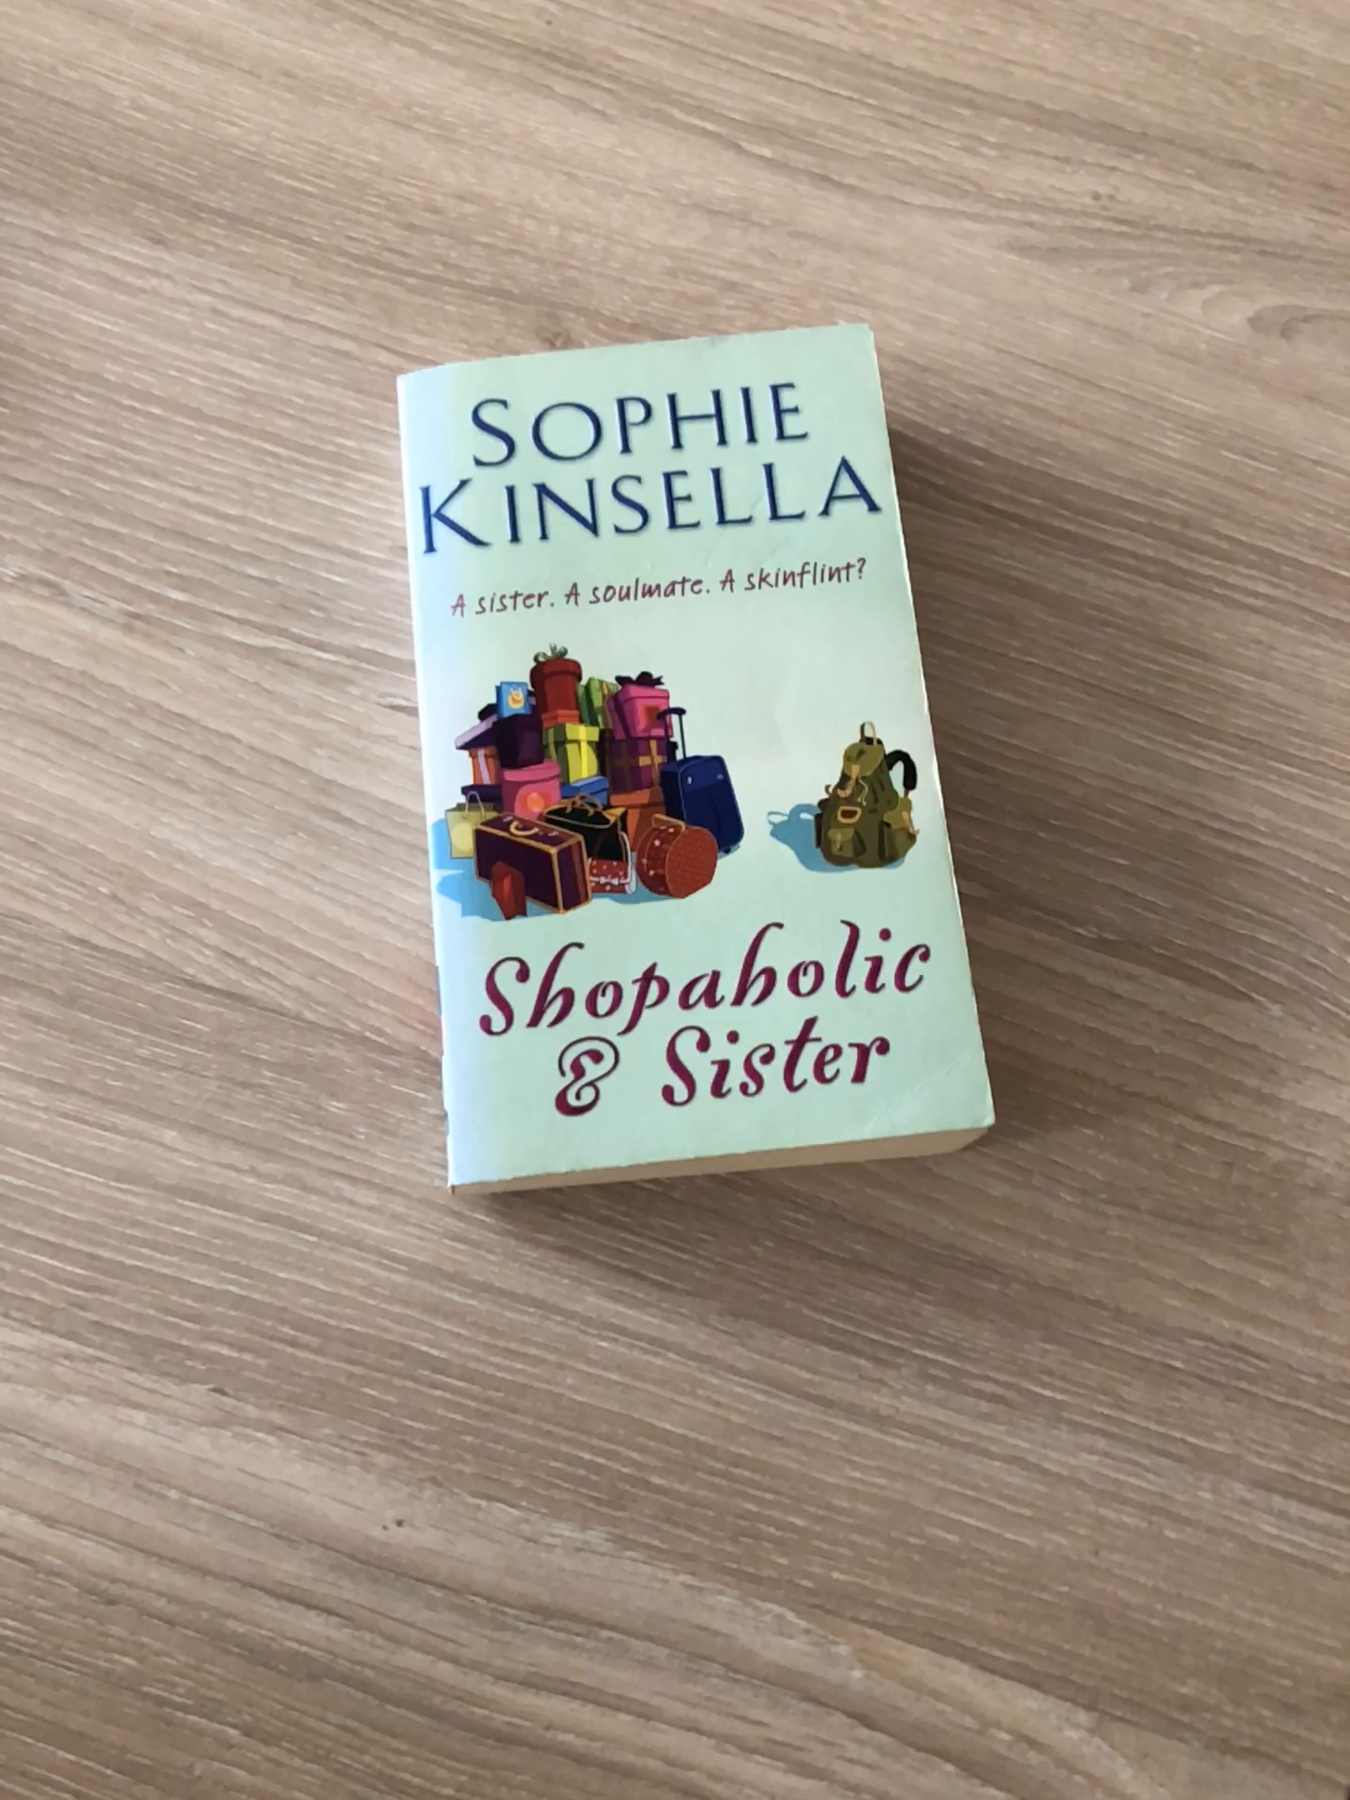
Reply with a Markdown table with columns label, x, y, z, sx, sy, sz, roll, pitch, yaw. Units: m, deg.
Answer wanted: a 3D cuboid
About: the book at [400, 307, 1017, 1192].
| label | x | y | z | sx | sy | sz | roll | pitch | yaw |
| --- | --- | --- | --- | --- | --- | --- | --- | --- | --- |
| book | 0.002 | -0.035 | 0.319 | 0.107 | 0.032 | 0.180 | -5 | 75 | -3 |
